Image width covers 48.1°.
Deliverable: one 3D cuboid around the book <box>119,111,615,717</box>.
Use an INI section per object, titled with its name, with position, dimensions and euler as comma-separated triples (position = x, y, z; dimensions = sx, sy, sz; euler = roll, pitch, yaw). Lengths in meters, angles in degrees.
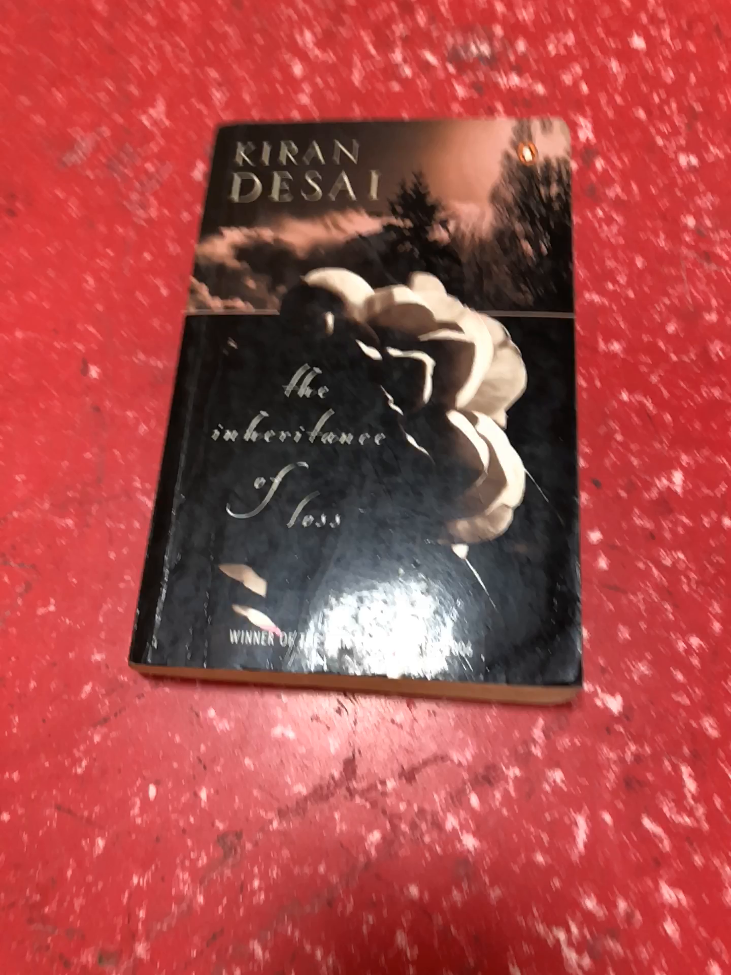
[book]
position = 0.007, -0.028, 0.274
dimensions = 0.130, 0.060, 0.190
euler = 2, 70, 6
